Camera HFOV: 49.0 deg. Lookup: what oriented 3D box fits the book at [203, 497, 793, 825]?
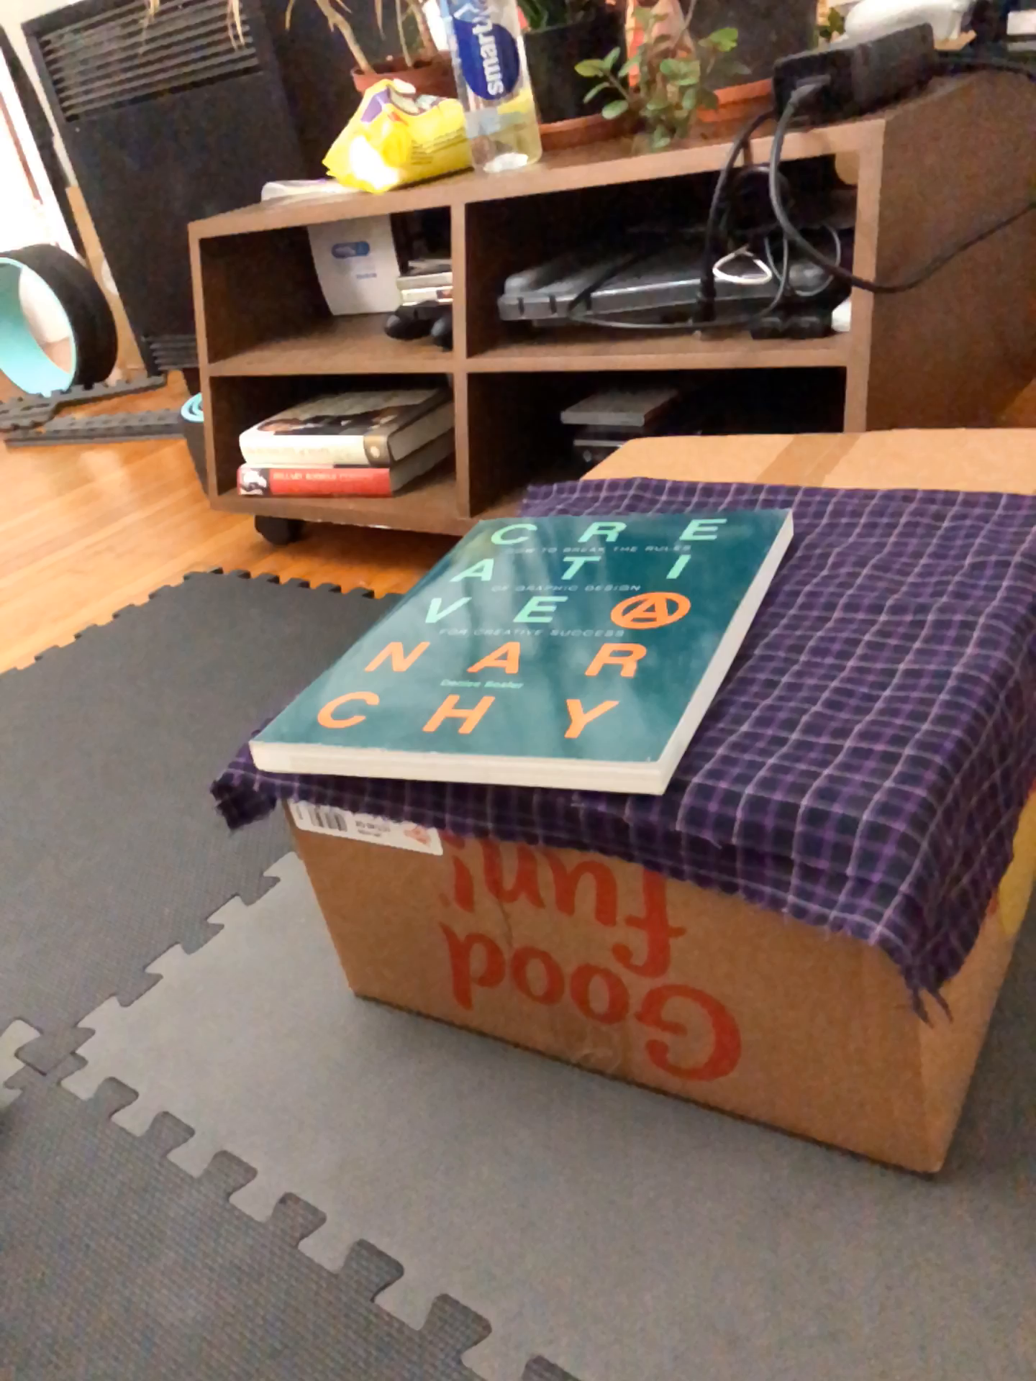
[{"bbox_3d":[0.009,-0.034,0.613,0.220,0.020,0.301,1,31,25],"label":"book"}]
